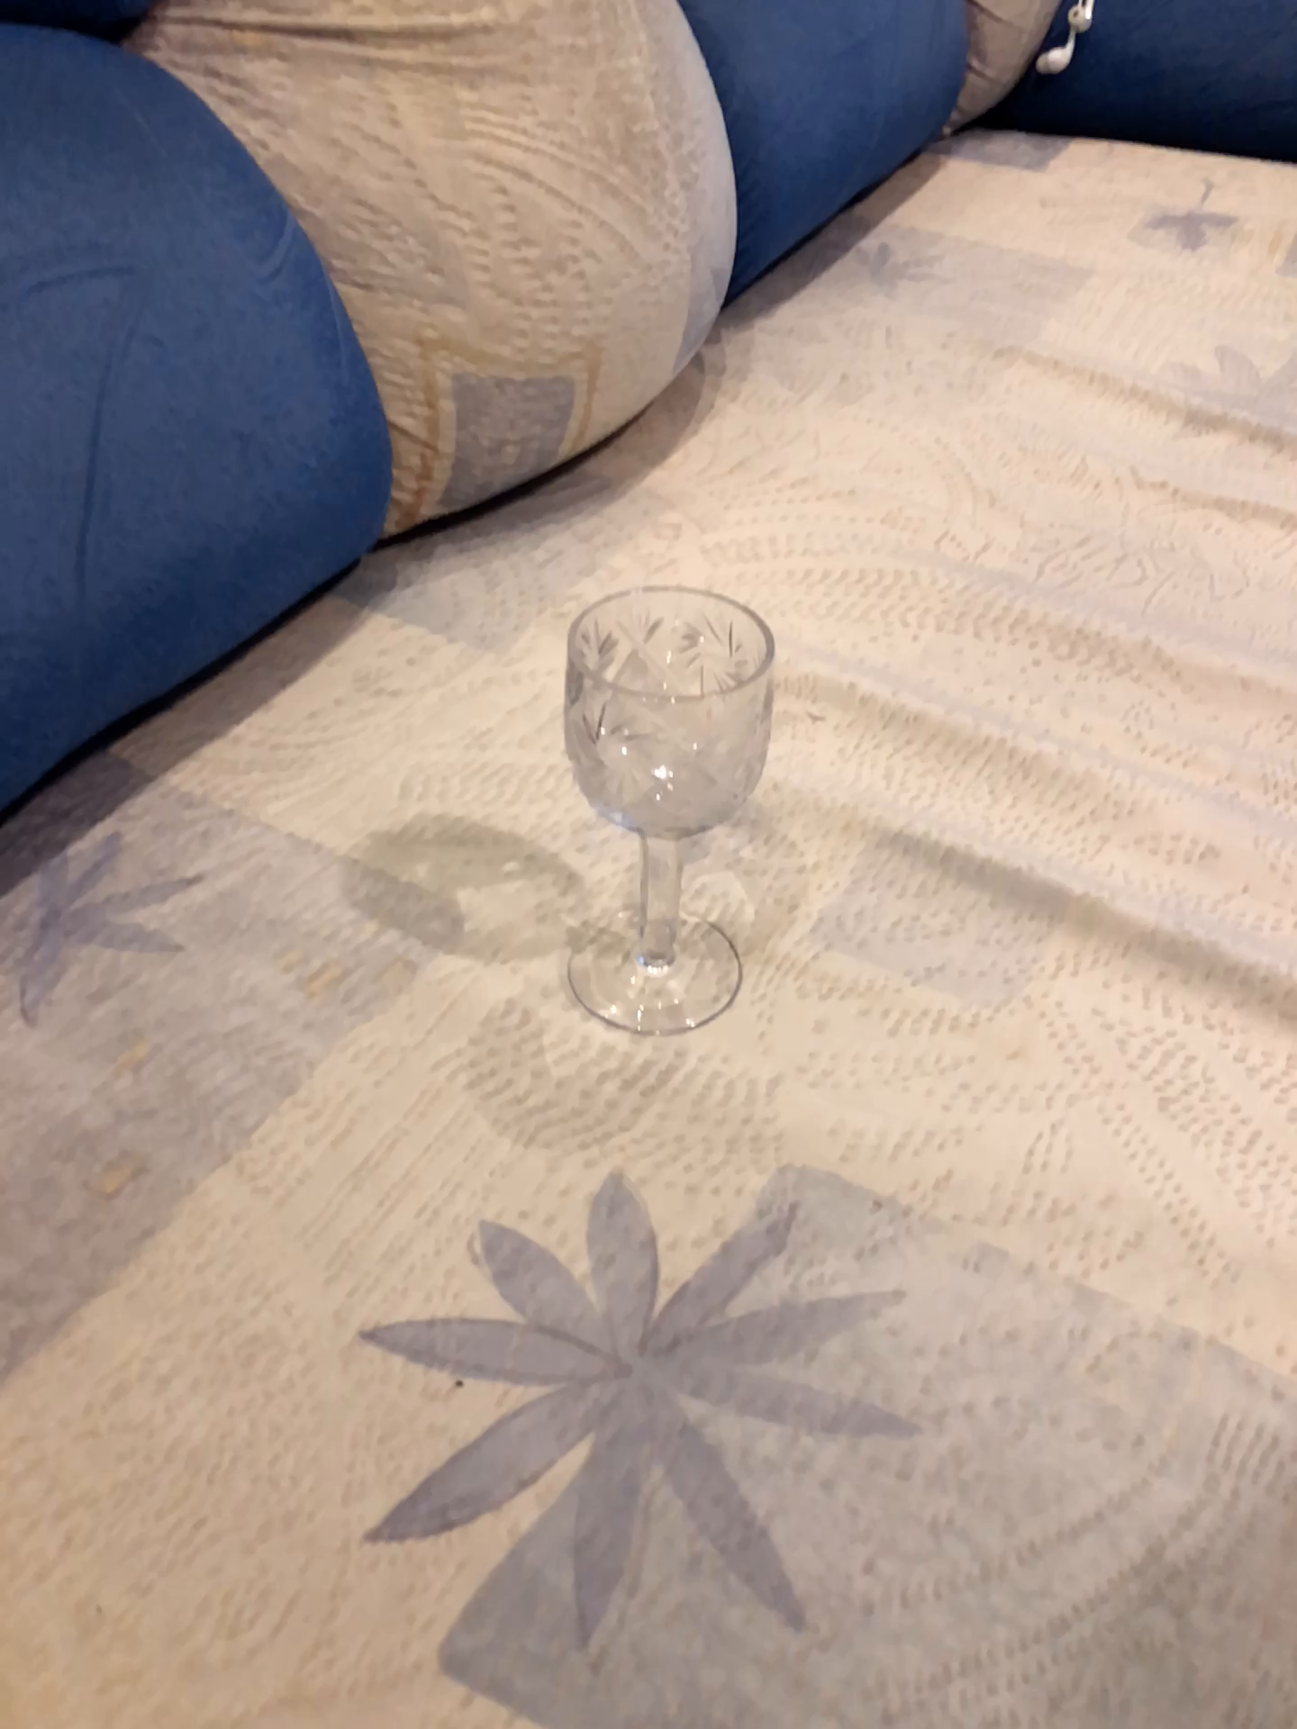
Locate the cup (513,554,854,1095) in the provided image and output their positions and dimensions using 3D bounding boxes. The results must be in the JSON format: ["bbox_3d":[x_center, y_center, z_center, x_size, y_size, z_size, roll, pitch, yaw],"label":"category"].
[{"bbox_3d":[0.006,-0.008,0.373,0.060,0.119,0.060,1,43,-1],"label":"cup"}]
